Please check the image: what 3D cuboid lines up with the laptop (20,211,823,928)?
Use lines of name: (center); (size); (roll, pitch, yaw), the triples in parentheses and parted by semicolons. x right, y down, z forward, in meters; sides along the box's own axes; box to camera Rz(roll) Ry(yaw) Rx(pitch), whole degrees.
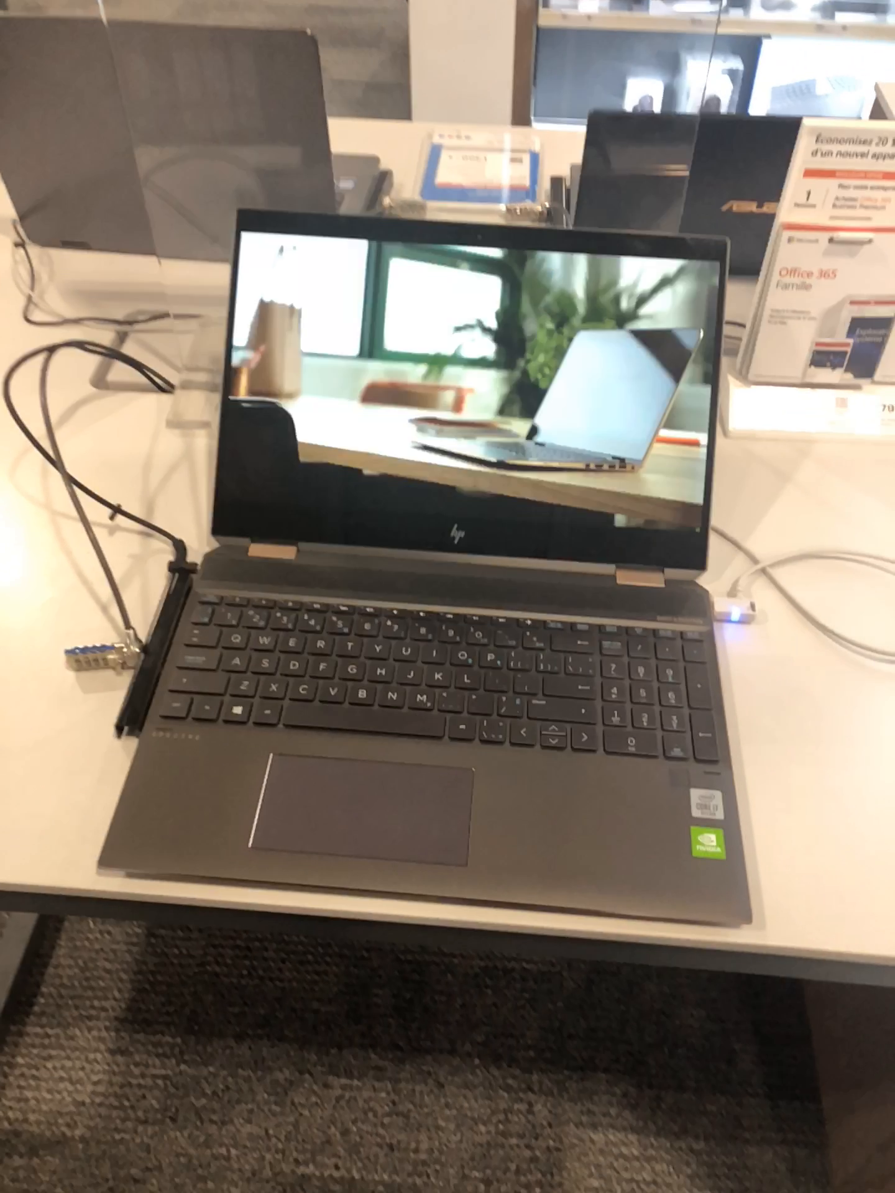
laptop: (0.001, -0.054, 0.597); (0.333, 0.145, 0.427); (4, 49, 5)
